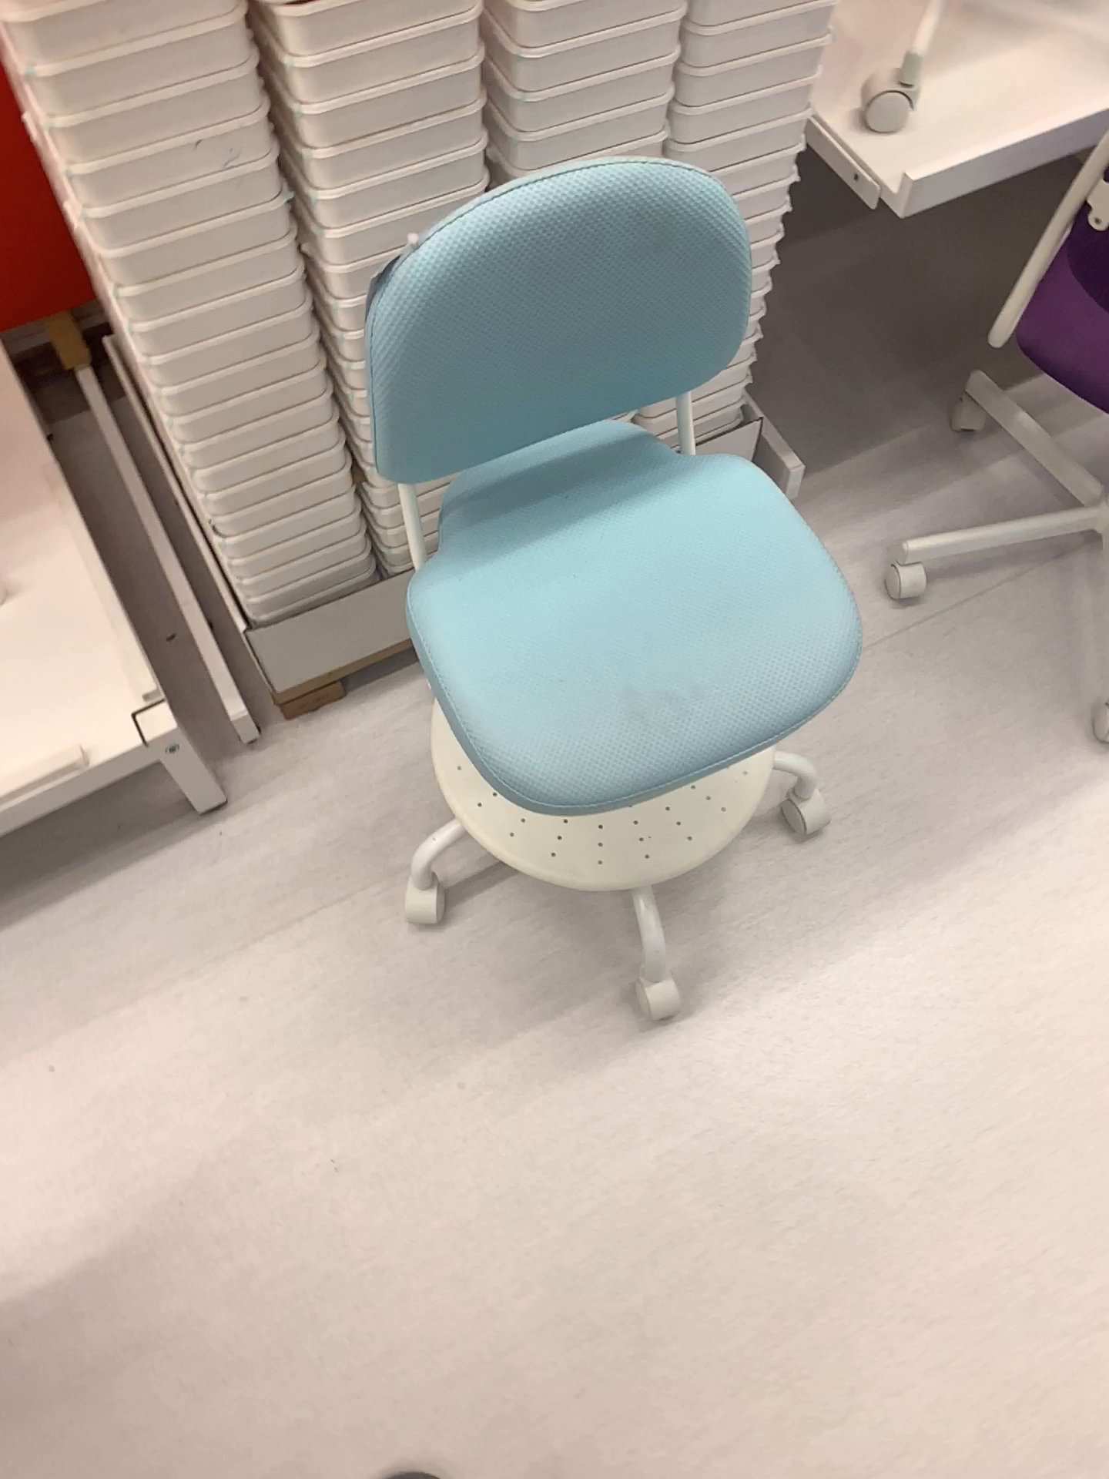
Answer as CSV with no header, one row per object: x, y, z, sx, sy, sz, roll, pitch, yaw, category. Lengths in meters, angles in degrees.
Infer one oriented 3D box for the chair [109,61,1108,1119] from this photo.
0.040,-0.088,1.173,0.570,0.749,0.611,-26,65,-12,chair
